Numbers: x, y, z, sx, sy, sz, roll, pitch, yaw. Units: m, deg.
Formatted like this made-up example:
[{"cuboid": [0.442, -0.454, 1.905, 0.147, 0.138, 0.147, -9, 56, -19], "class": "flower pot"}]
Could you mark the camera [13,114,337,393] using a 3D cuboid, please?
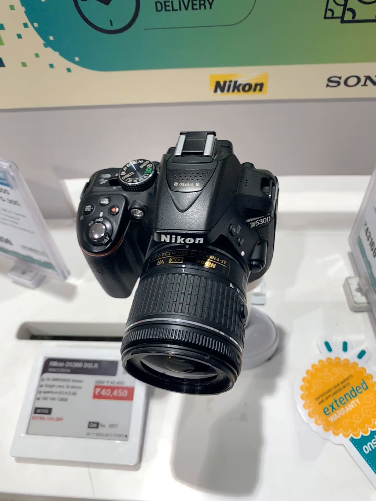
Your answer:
[{"cuboid": [0.000, -0.001, 0.213, 0.118, 0.082, 0.123, 0, 50, 6], "class": "camera"}]
